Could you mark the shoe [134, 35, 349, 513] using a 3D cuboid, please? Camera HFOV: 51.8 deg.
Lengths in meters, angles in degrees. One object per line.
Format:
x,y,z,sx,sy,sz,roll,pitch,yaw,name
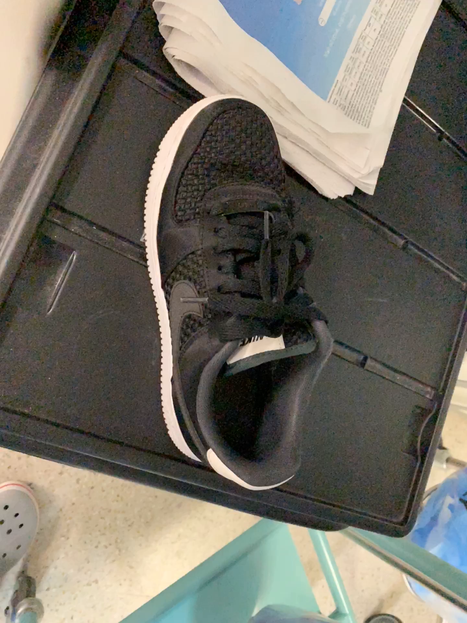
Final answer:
0.001,-0.019,0.289,0.090,0.094,0.224,-3,93,-27,shoe
